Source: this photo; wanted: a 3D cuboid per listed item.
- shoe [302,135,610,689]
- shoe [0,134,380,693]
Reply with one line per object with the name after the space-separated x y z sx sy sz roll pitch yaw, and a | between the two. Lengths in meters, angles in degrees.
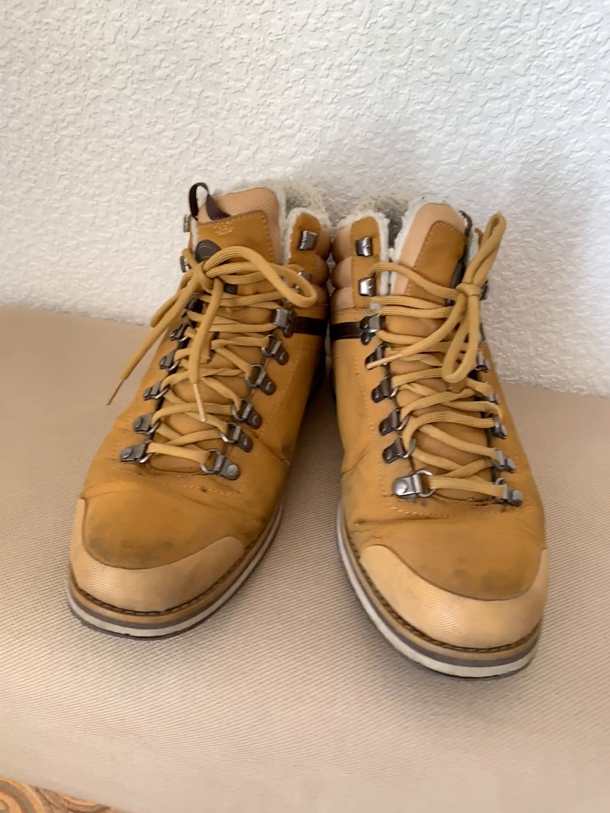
0.067 -0.026 0.357 0.120 0.149 0.302 -1 41 -3 | shoe
-0.052 -0.031 0.361 0.120 0.149 0.301 12 39 11 | shoe
